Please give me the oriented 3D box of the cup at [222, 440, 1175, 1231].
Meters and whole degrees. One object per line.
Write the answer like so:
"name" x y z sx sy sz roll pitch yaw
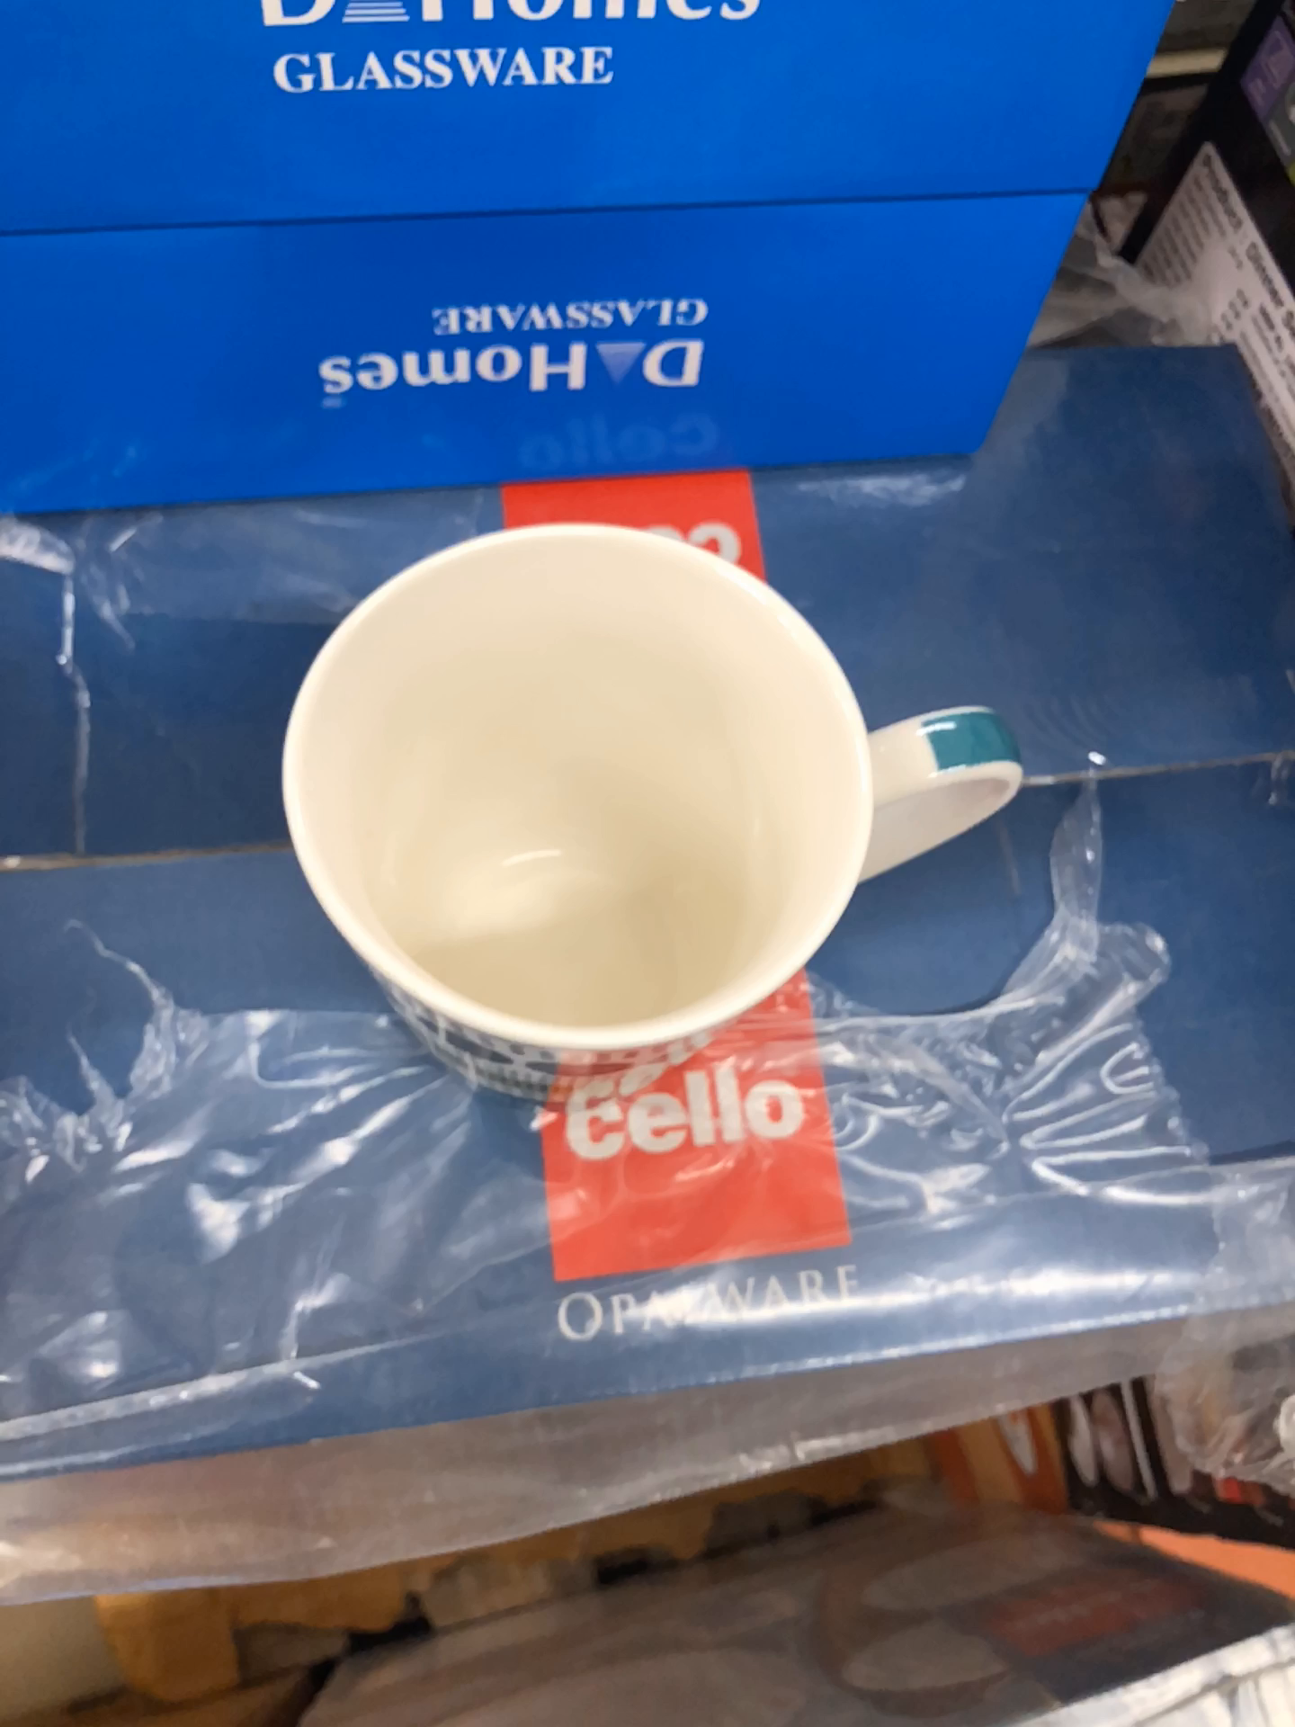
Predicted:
"cup" 0.002 0.000 0.253 0.120 0.090 0.090 -12 73 -10
